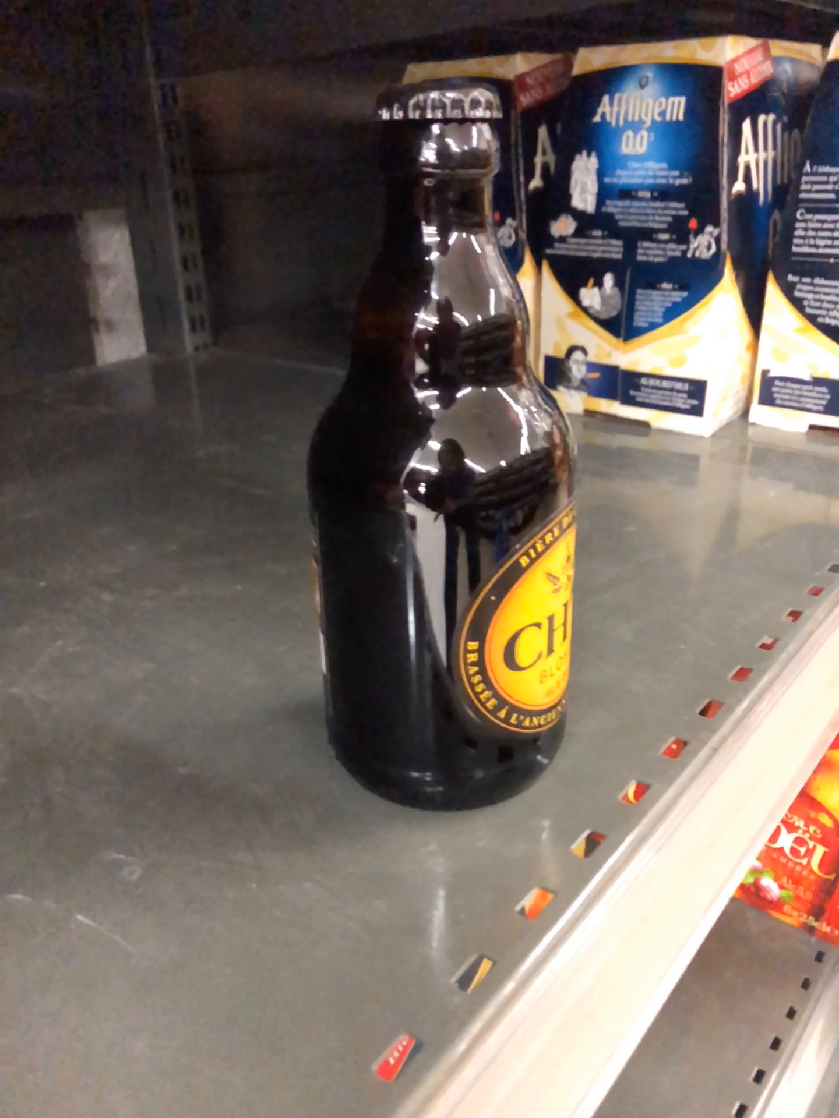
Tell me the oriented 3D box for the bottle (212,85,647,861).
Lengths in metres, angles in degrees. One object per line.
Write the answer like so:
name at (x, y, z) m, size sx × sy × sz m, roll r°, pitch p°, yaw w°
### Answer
bottle at (0.008, -0.023, 0.236) m, size 0.070 × 0.169 × 0.070 m, roll -2°, pitch 24°, yaw 1°
